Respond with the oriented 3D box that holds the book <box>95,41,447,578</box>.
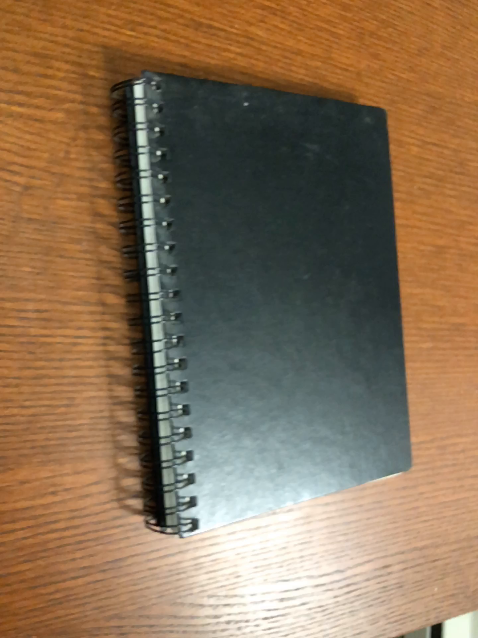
[{"bbox_3d":[0.031,-0.012,0.319,0.201,0.030,0.260,-6,91,-28],"label":"book"}]
